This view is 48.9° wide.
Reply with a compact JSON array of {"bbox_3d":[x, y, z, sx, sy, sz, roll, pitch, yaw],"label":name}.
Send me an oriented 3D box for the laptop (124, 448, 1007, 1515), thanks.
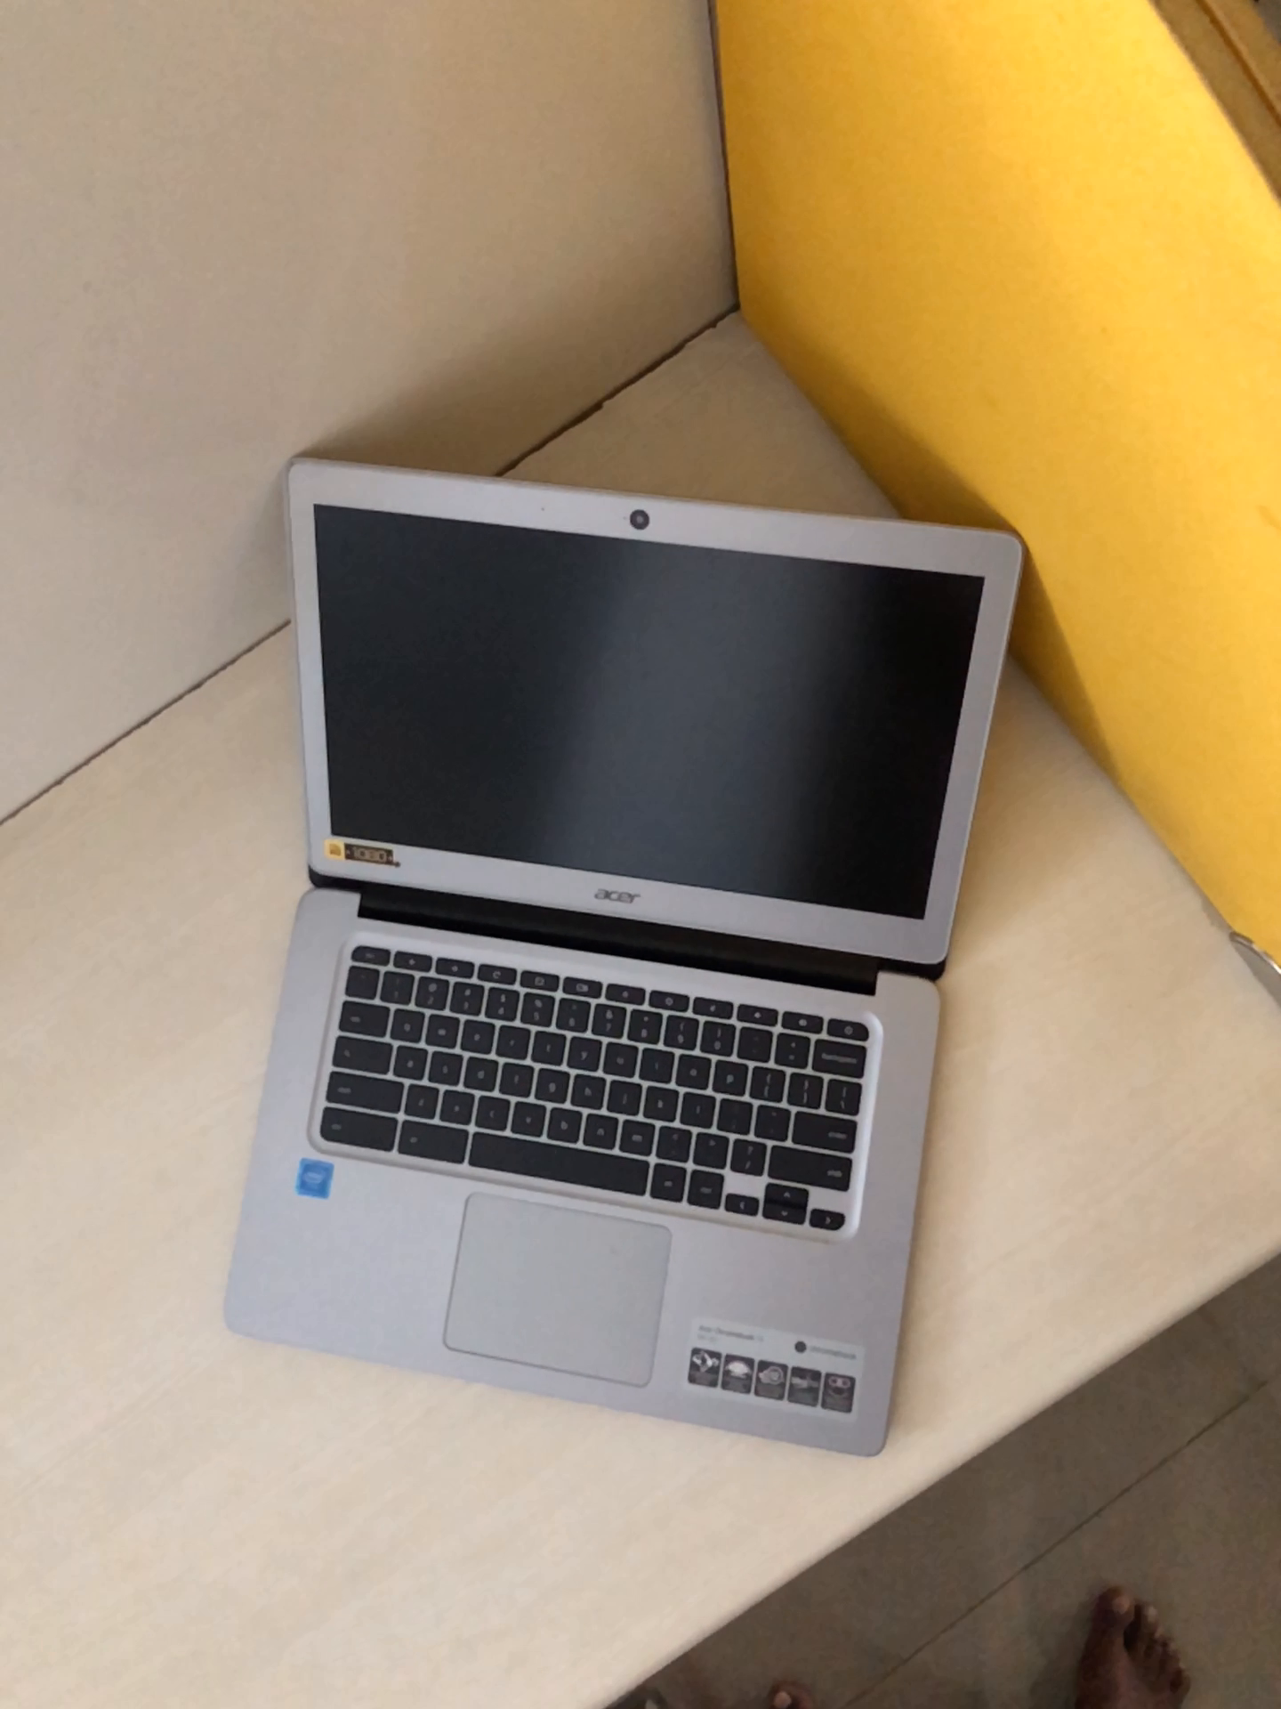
[{"bbox_3d":[-0.027,0.047,0.661,0.319,0.124,0.409,8,85,8],"label":"laptop"}]
